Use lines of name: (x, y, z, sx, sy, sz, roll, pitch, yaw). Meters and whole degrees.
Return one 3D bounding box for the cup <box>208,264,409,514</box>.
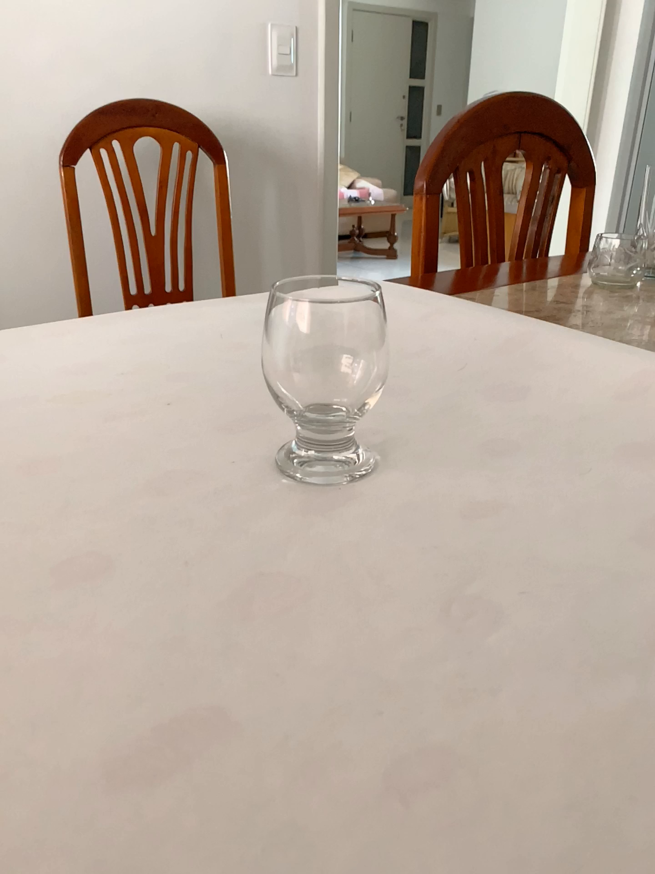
cup: (-0.013, -0.033, 0.391, 0.080, 0.112, 0.080, 1, 24, 0)
